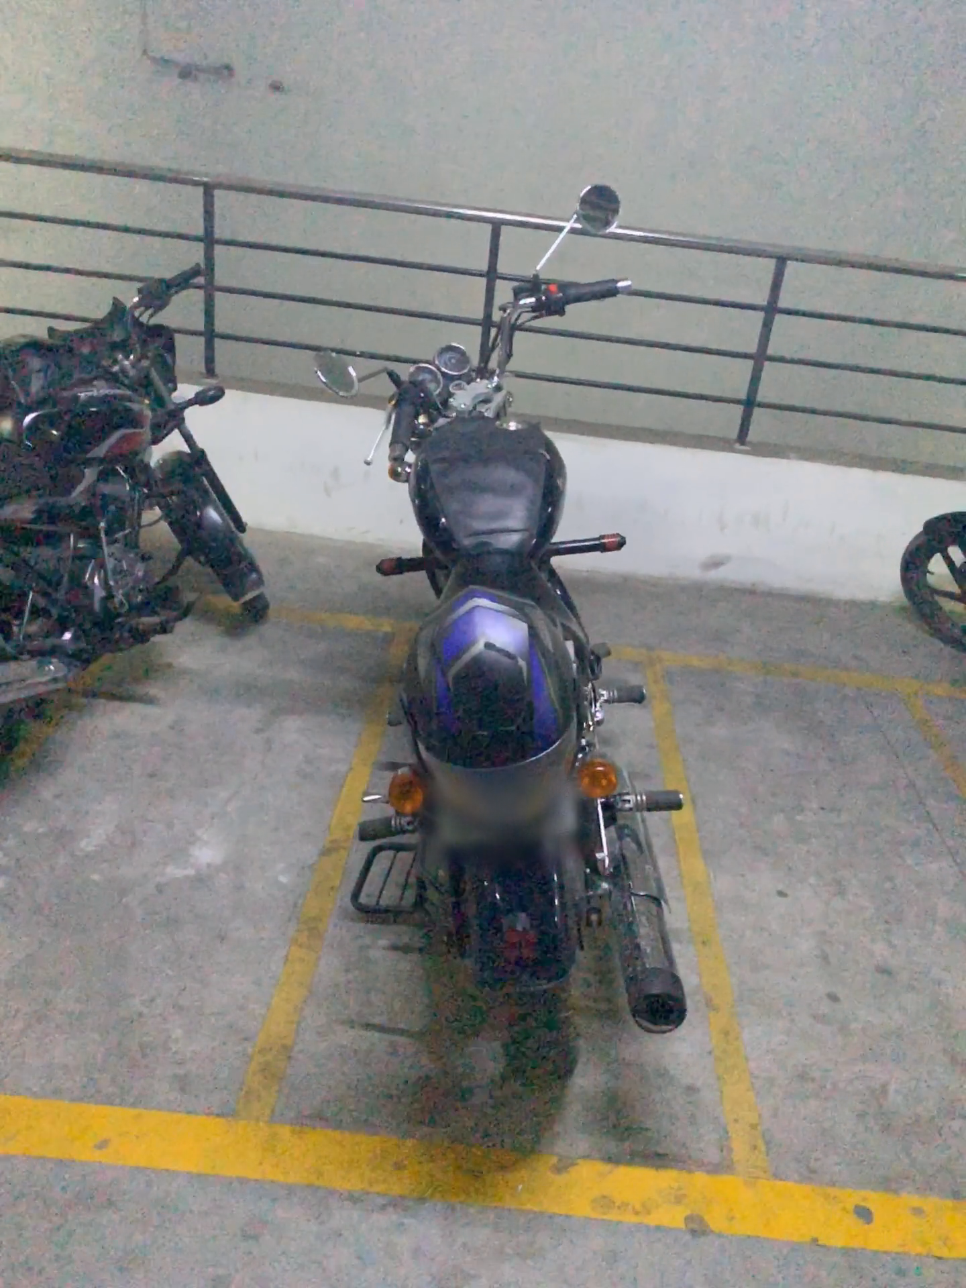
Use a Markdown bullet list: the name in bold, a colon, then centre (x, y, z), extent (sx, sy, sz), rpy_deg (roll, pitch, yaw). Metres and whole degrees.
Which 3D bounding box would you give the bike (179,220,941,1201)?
- **bike**: centre (-0.108, -0.056, 2.078), extent (0.842, 1.303, 1.674), rpy_deg (2, 27, -10)

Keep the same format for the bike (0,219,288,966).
- **bike**: centre (-1.113, -0.296, 2.379), extent (0.594, 1.193, 1.509), rpy_deg (14, 28, 13)
